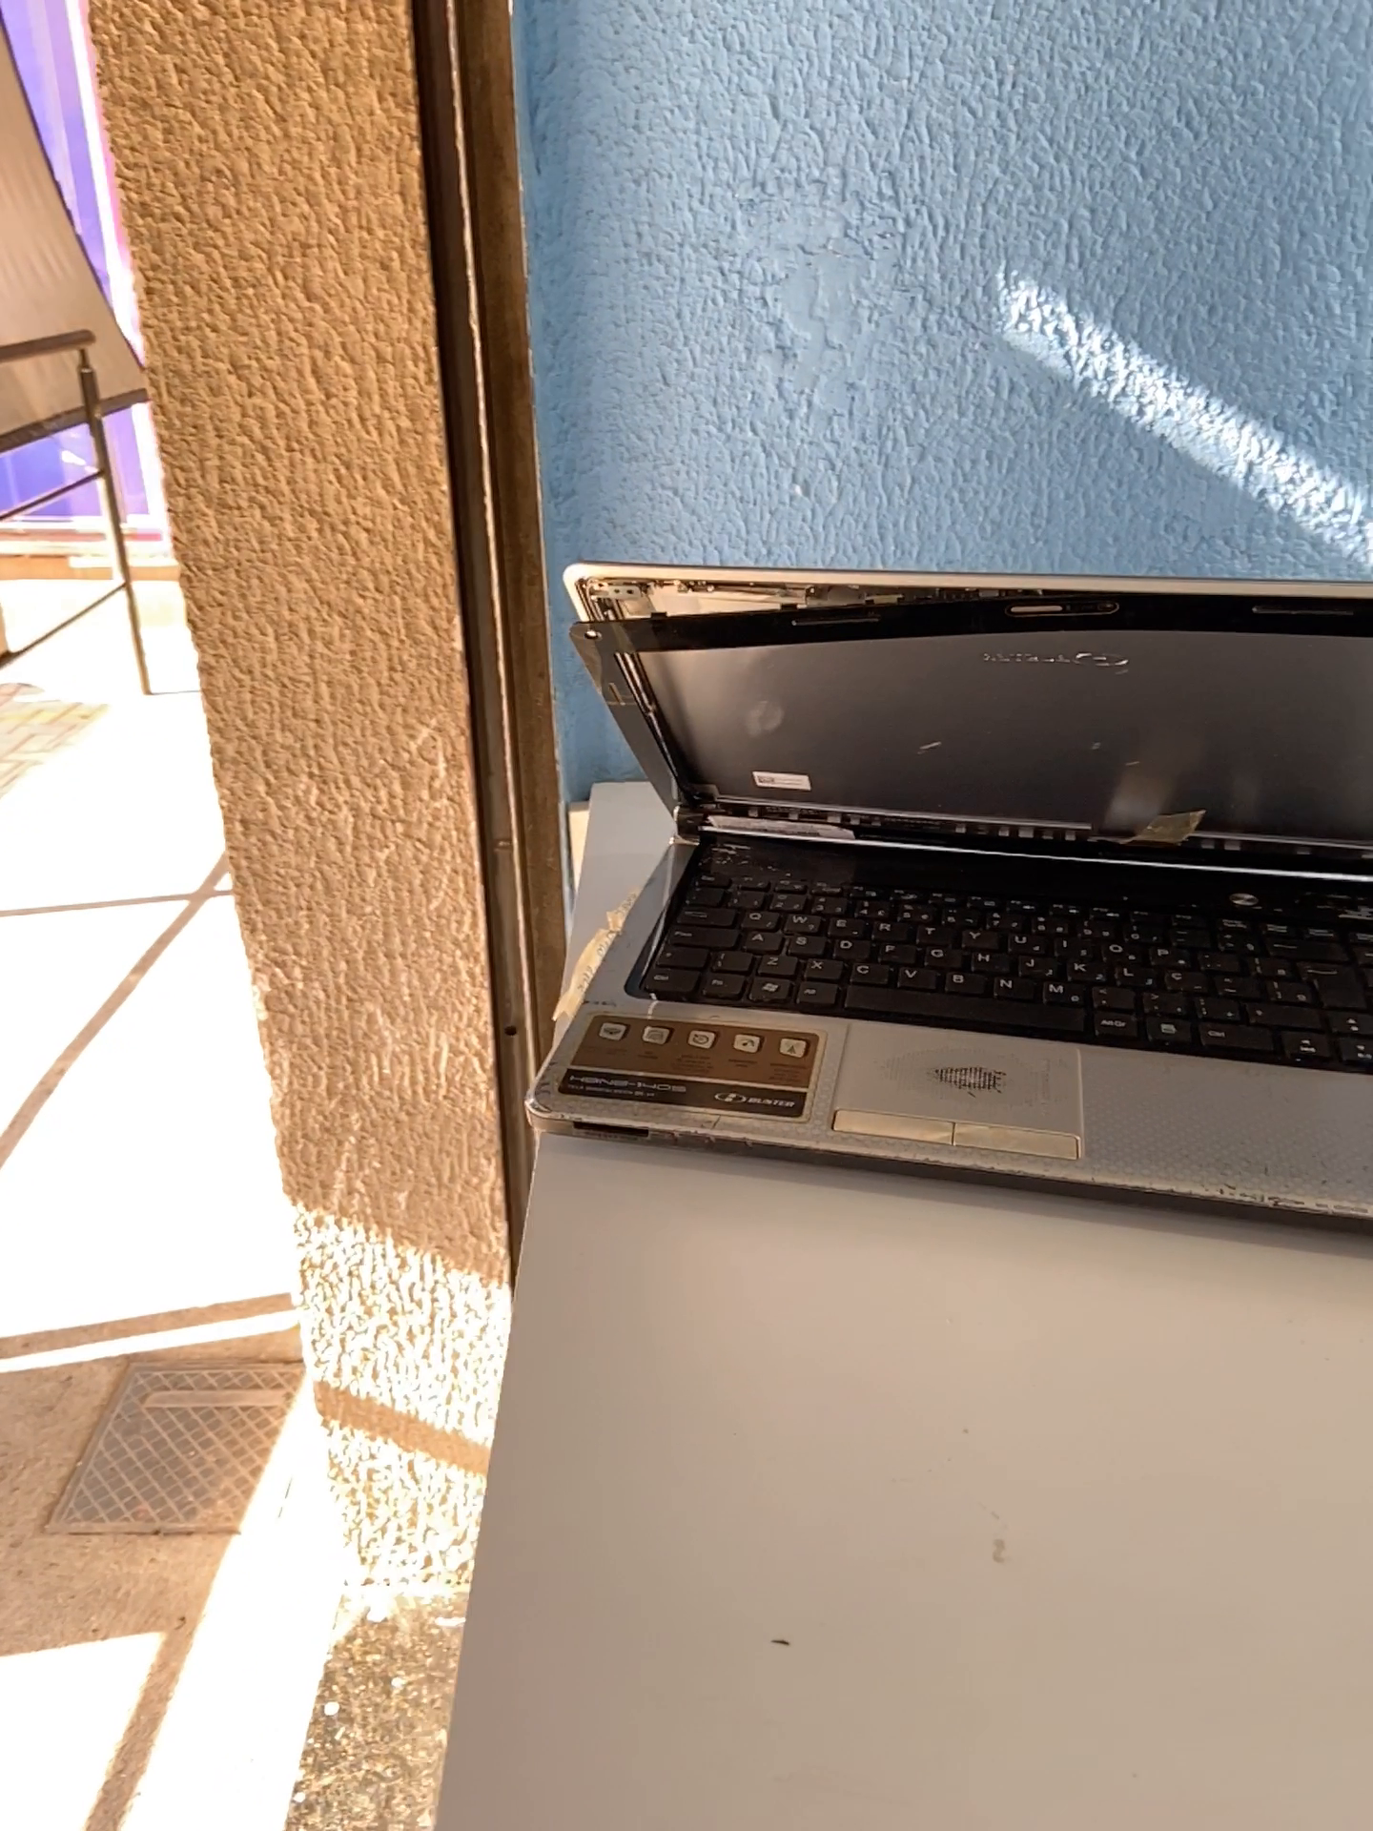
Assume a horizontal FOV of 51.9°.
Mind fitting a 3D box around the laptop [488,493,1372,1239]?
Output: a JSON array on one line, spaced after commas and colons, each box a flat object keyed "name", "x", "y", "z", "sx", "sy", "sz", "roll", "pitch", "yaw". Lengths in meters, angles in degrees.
[{"name": "laptop", "x": 0.128, "y": -0.045, "z": 0.511, "sx": 0.325, "sy": 0.160, "sz": 0.233, "roll": 5, "pitch": 27, "yaw": 12}]
